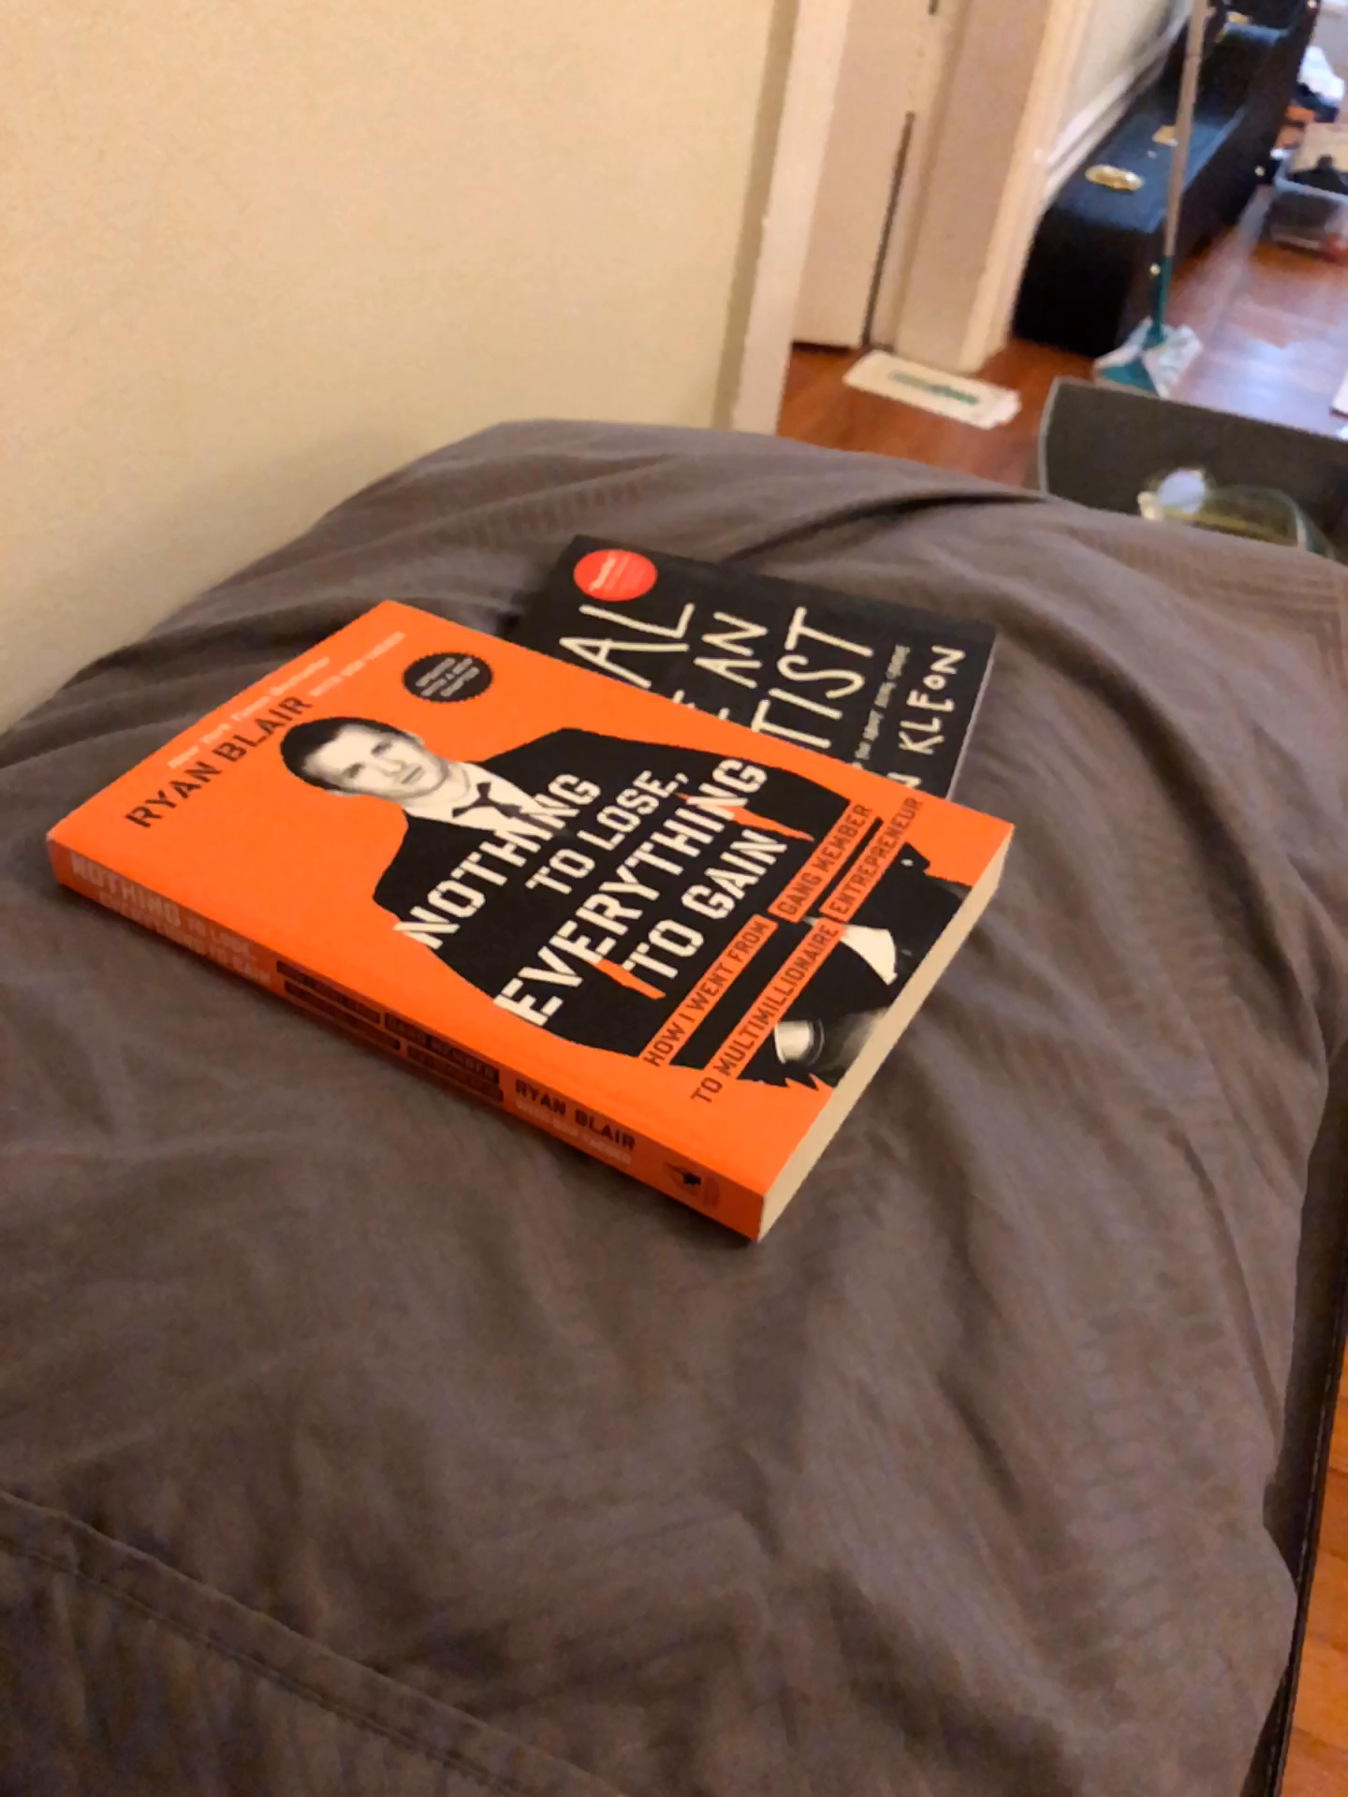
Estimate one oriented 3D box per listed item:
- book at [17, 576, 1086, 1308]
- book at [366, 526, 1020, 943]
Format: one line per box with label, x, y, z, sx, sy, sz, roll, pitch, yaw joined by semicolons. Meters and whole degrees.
book;-0.026;-0.010;0.407;0.230;0.020;0.171;24;43;19
book;0.014;-0.061;0.473;0.170;0.020;0.151;13;41;10
